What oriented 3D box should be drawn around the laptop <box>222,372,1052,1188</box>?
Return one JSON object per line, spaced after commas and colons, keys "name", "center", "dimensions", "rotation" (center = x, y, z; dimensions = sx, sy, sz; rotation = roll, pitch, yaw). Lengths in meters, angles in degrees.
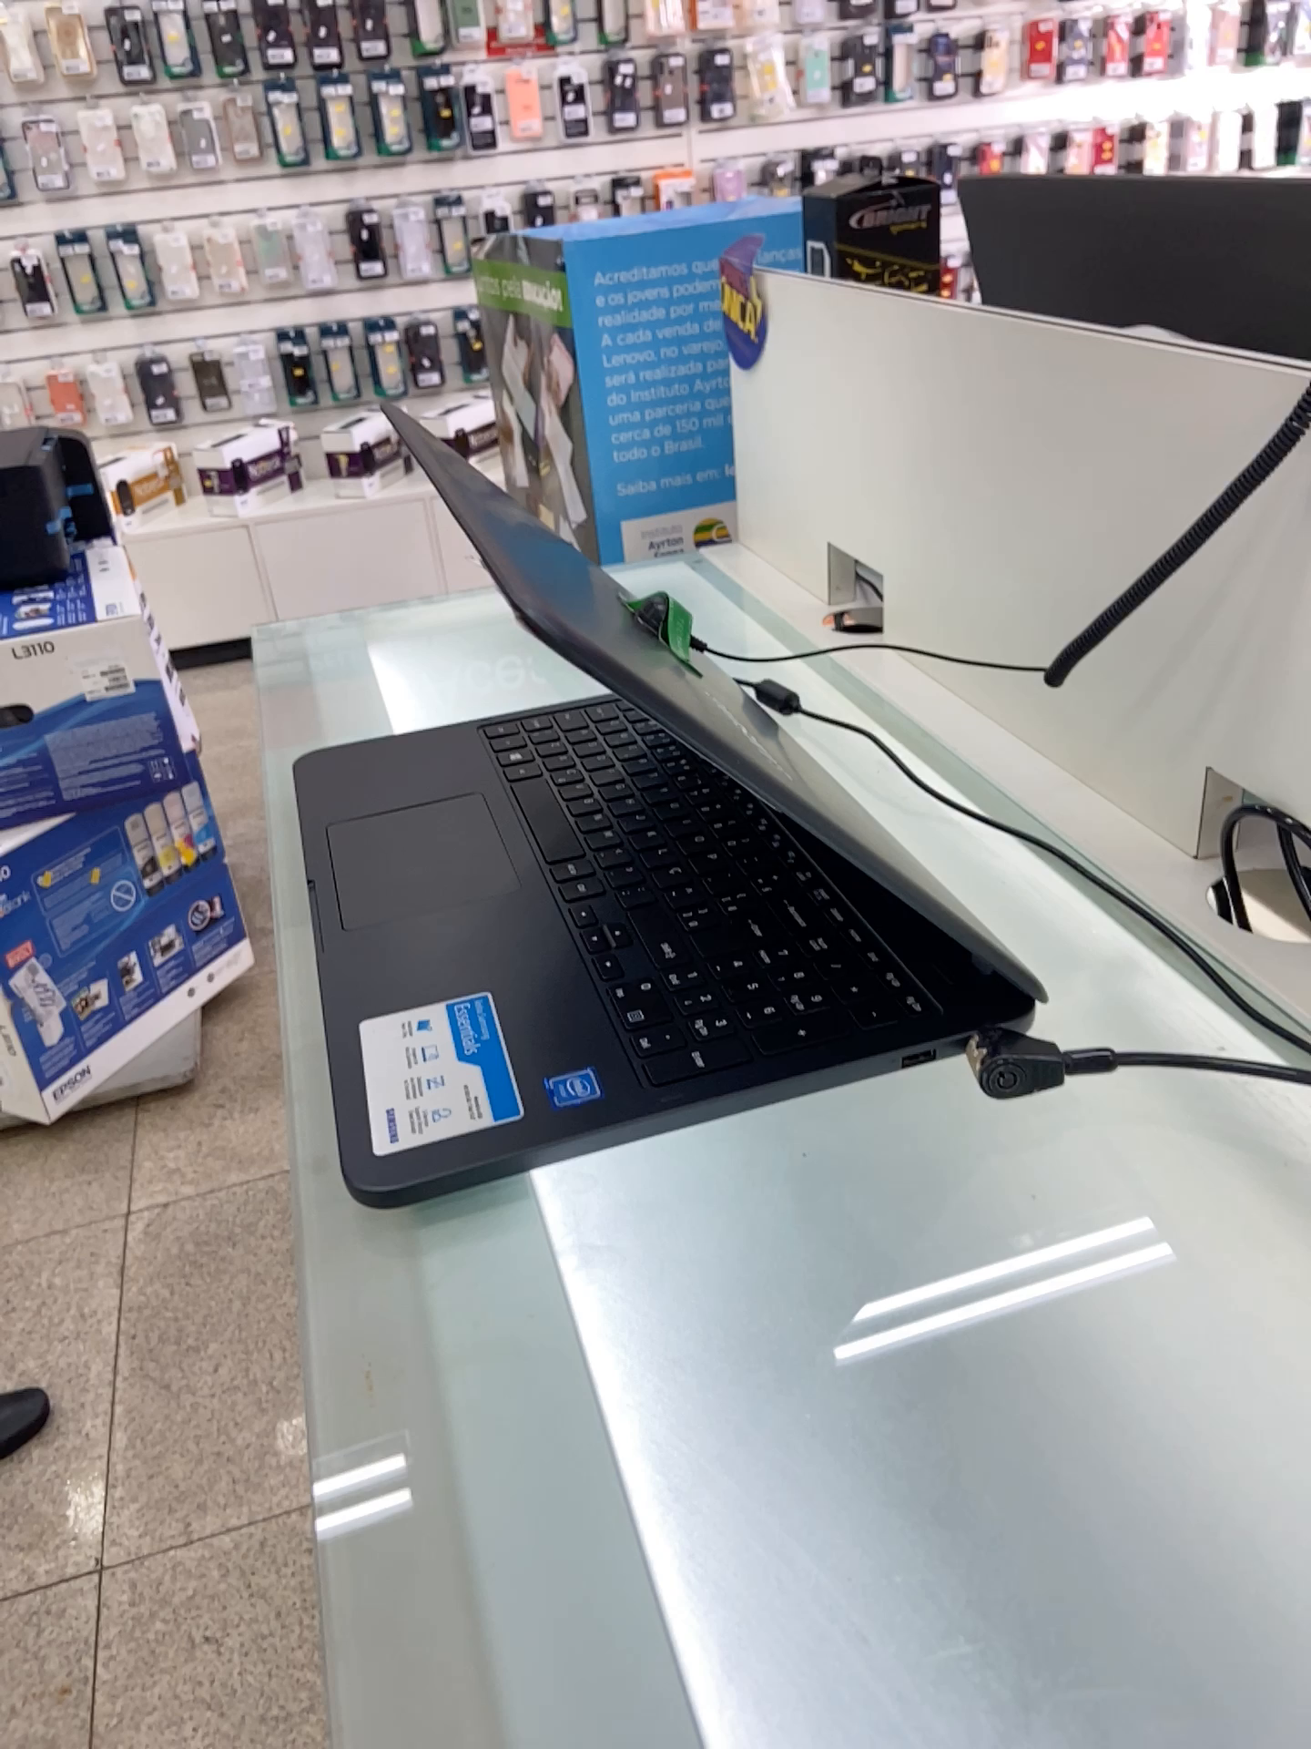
{"name": "laptop", "center": [-0.040, -0.085, 0.582], "dimensions": [0.245, 0.173, 0.374], "rotation": [-13, 29, -12]}
